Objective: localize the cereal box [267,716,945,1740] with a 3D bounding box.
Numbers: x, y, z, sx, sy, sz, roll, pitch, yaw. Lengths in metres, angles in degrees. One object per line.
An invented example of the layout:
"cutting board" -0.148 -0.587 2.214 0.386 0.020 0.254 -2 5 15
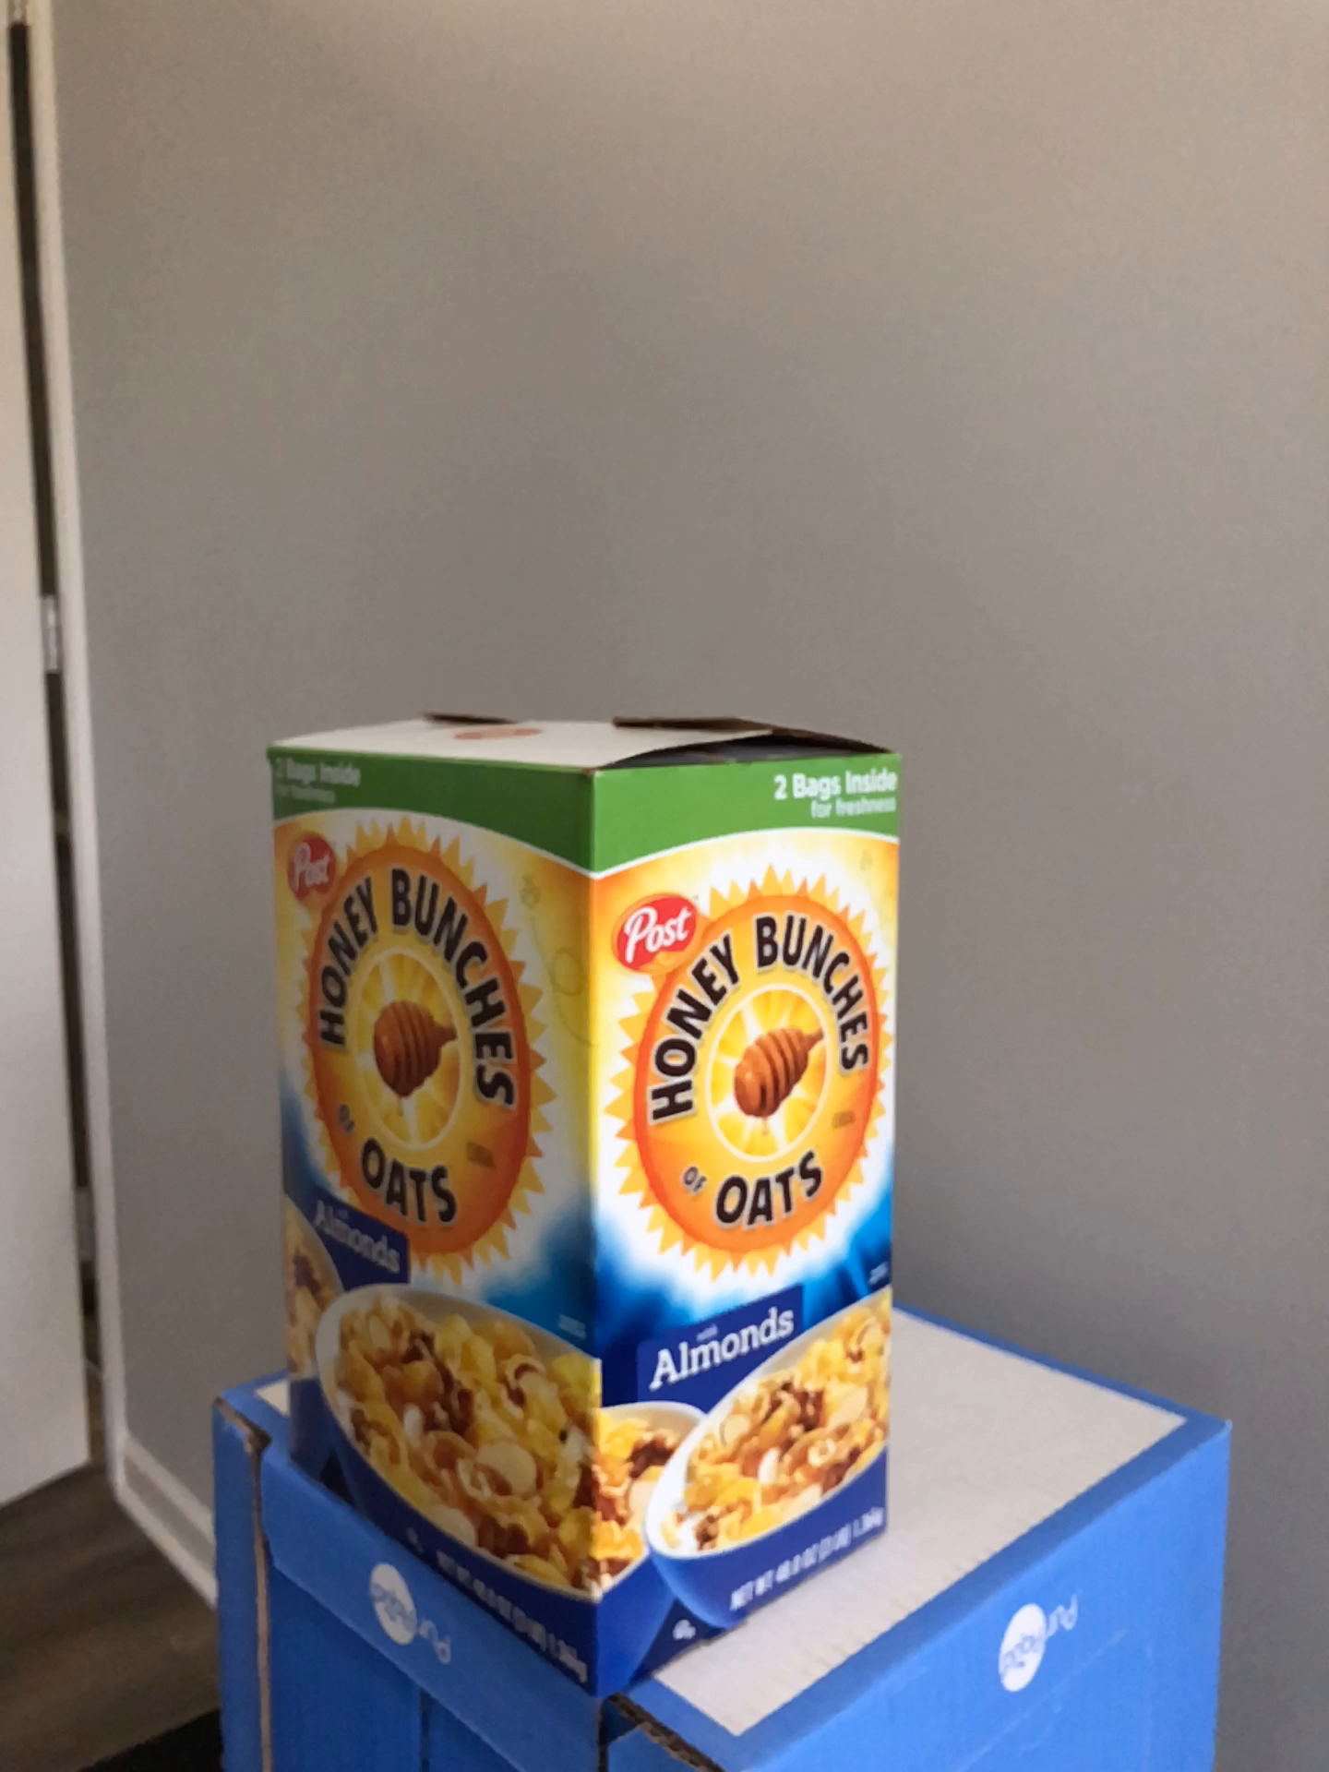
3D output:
"cereal box" -0.026 0.090 0.549 0.150 0.300 0.200 -6 10 -41
